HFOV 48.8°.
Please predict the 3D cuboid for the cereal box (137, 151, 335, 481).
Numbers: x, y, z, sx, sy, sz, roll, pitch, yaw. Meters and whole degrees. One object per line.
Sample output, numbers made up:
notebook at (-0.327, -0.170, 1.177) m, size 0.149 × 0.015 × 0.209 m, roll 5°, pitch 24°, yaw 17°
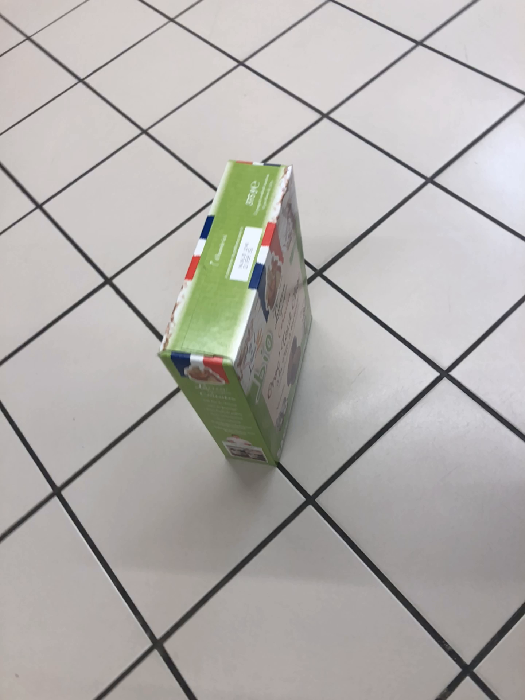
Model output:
cereal box at (-0.001, -0.018, 0.535) m, size 0.080 × 0.239 × 0.201 m, roll 9°, pitch 64°, yaw 16°
